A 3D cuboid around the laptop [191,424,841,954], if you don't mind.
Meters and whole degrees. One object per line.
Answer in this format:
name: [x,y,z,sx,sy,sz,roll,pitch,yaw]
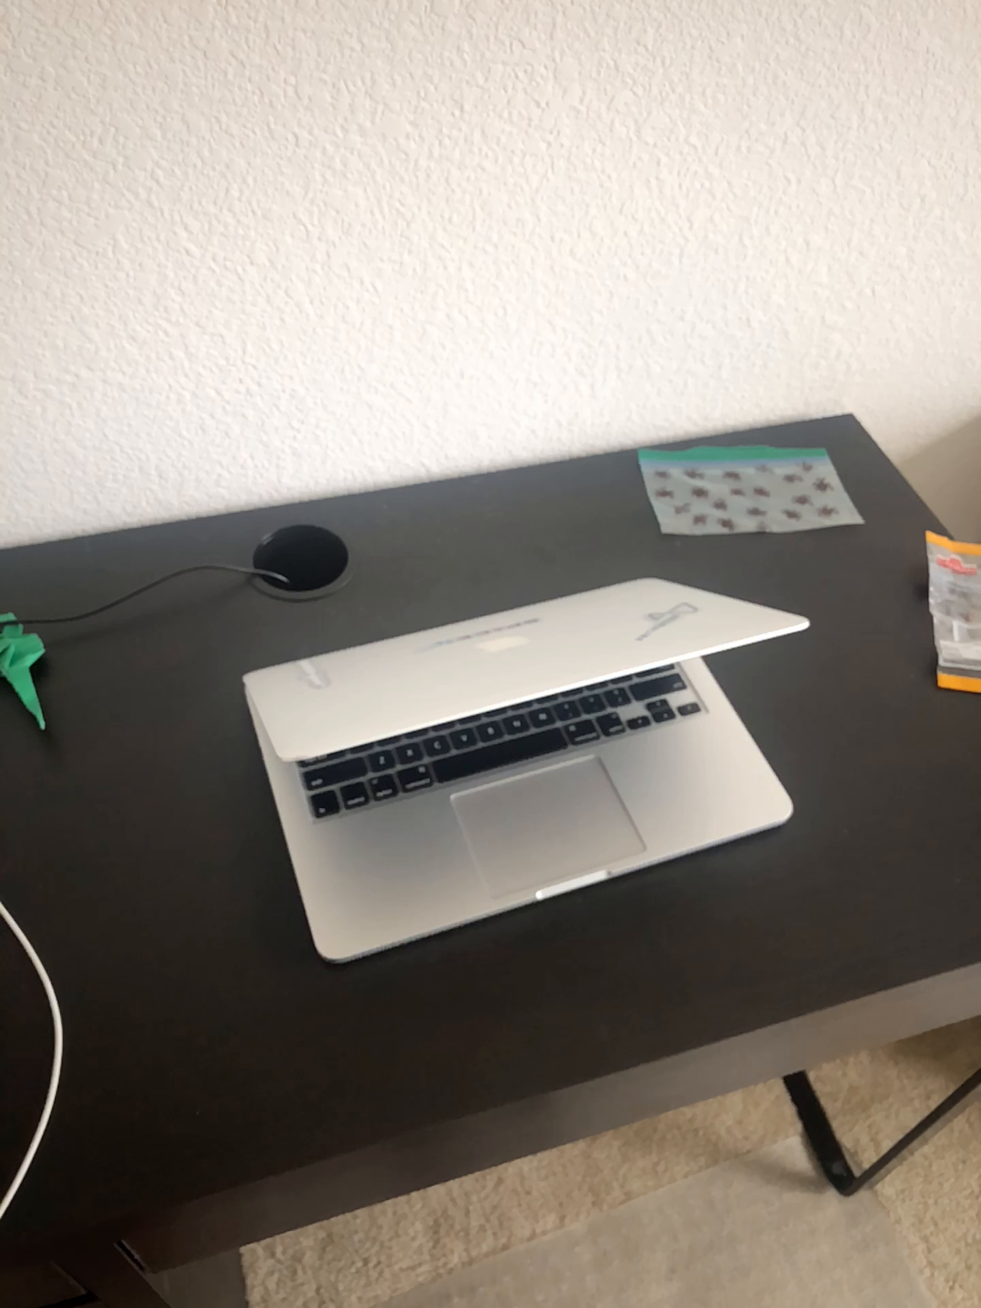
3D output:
laptop: [0.003,0.007,0.663,0.309,0.133,0.225,-14,51,-15]
